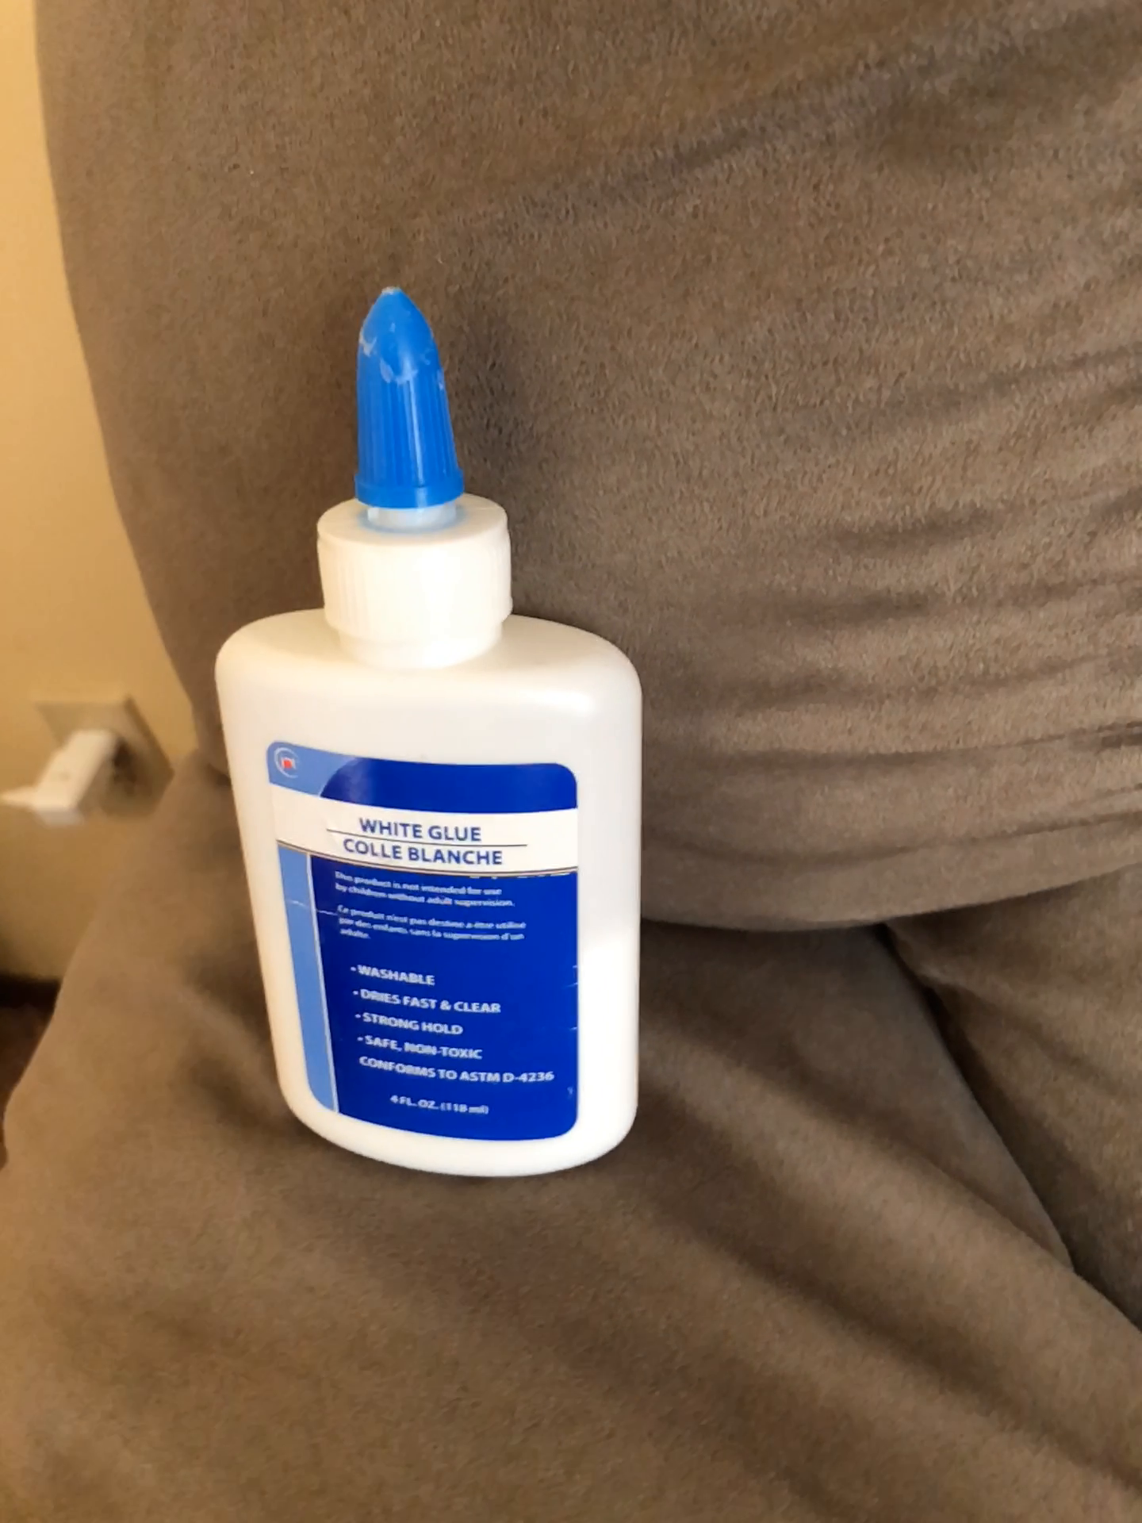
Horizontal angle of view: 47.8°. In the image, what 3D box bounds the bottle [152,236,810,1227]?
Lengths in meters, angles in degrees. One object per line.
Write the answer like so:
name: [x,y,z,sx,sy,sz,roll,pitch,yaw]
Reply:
bottle: [-0.009,-0.002,0.183,0.070,0.130,0.040,6,28,10]
